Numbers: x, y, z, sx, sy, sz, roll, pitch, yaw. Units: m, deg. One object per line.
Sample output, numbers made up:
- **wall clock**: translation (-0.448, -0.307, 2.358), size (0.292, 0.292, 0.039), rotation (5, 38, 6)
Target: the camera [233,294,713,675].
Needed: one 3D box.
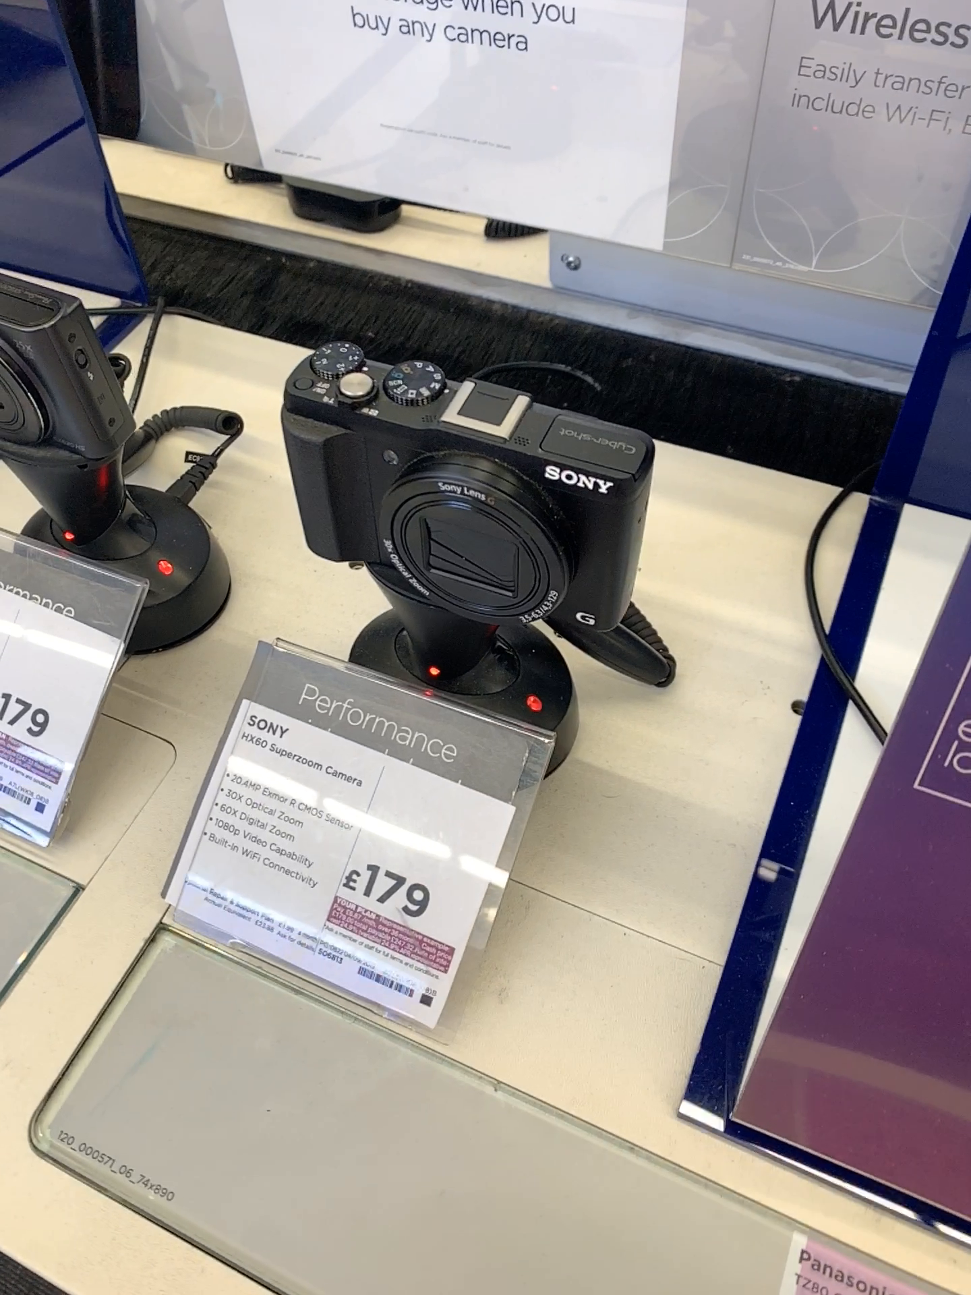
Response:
- **camera**: translation (-0.002, -0.044, 0.271), size (0.110, 0.069, 0.040), rotation (17, 56, 15)
